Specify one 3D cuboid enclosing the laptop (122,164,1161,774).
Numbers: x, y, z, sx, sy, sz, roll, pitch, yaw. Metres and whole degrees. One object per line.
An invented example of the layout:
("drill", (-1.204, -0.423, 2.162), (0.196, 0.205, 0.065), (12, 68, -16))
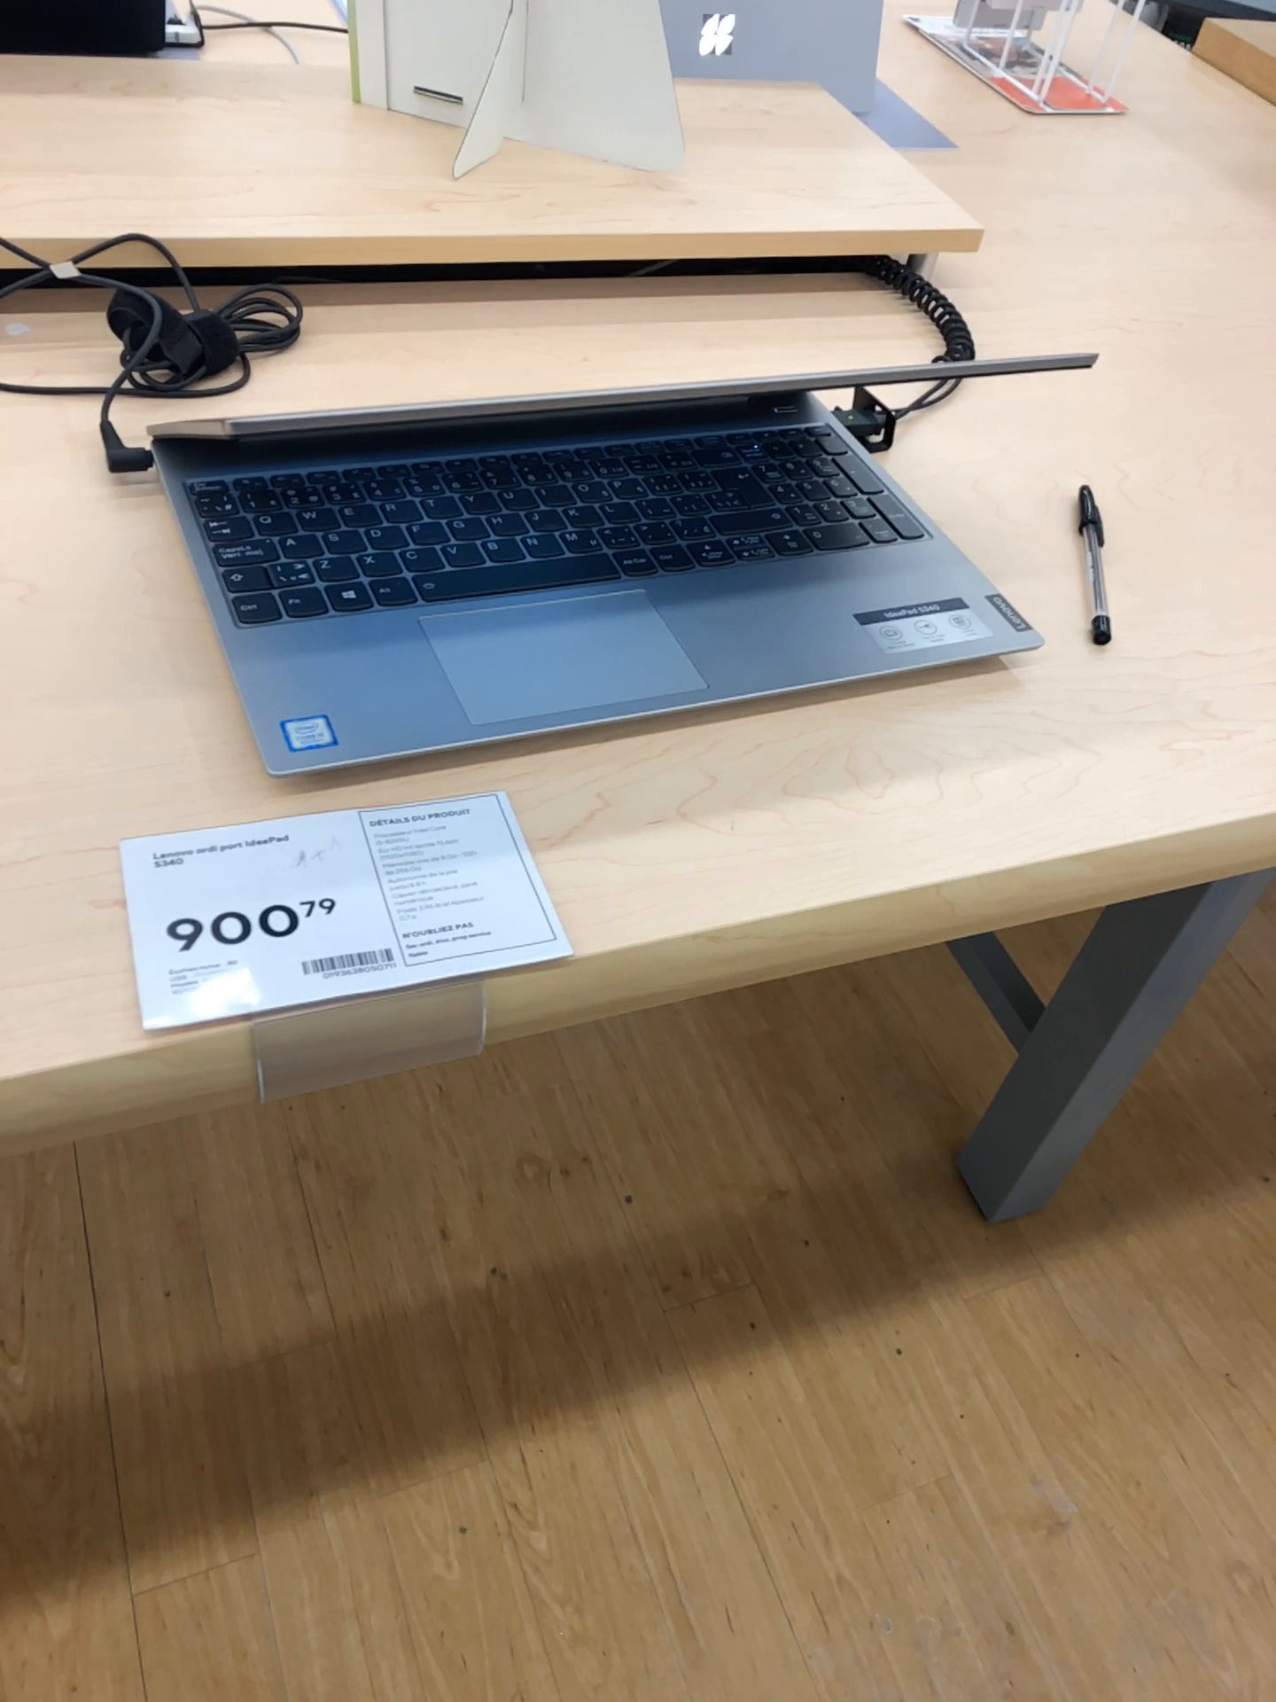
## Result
("laptop", (-0.010, -0.184, 0.597), (0.351, 0.122, 0.234), (-12, 49, -22))
